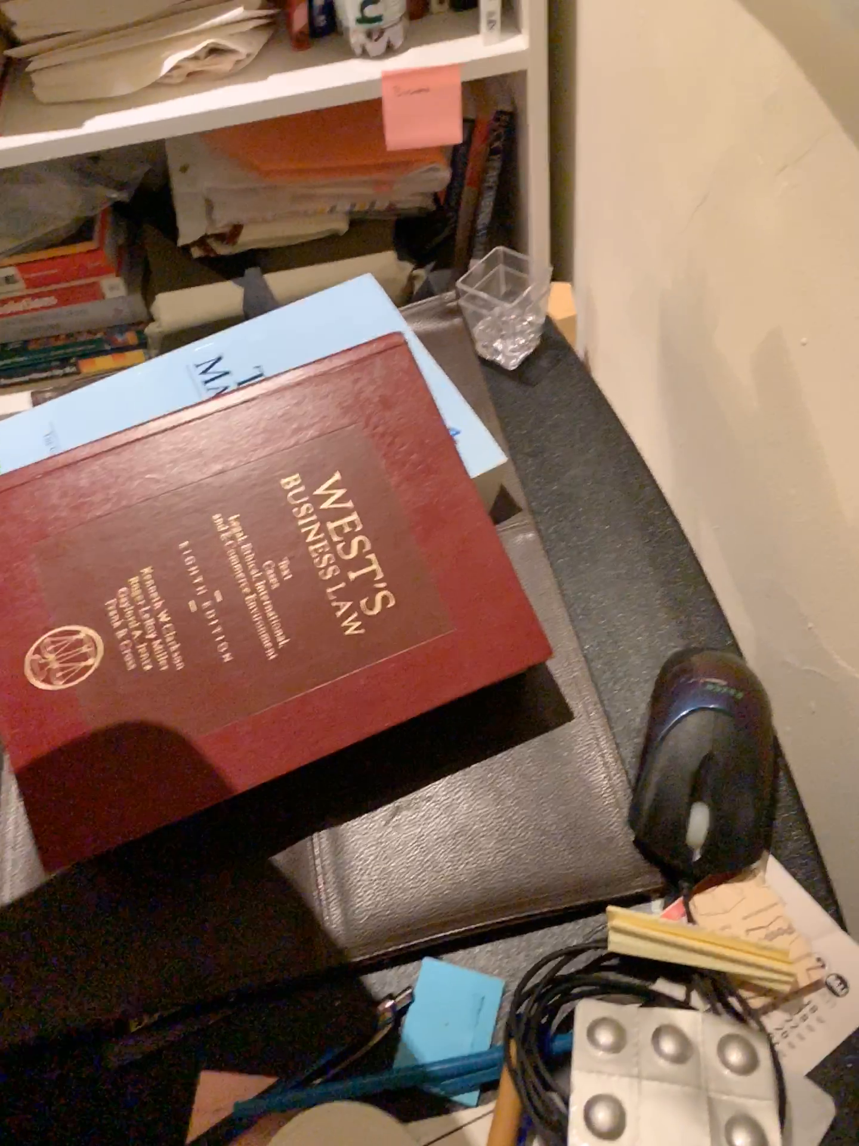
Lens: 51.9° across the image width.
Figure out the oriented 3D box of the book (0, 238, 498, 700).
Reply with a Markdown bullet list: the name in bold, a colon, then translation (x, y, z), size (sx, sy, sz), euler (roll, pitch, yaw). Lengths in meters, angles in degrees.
- **book**: translation (-0.128, -0.079, 0.553), size (0.270, 0.070, 0.221), euler (-22, 54, -8)

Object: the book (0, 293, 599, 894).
- **book**: translation (-0.085, 0.002, 0.456), size (0.270, 0.050, 0.210), euler (-23, 79, -8)
